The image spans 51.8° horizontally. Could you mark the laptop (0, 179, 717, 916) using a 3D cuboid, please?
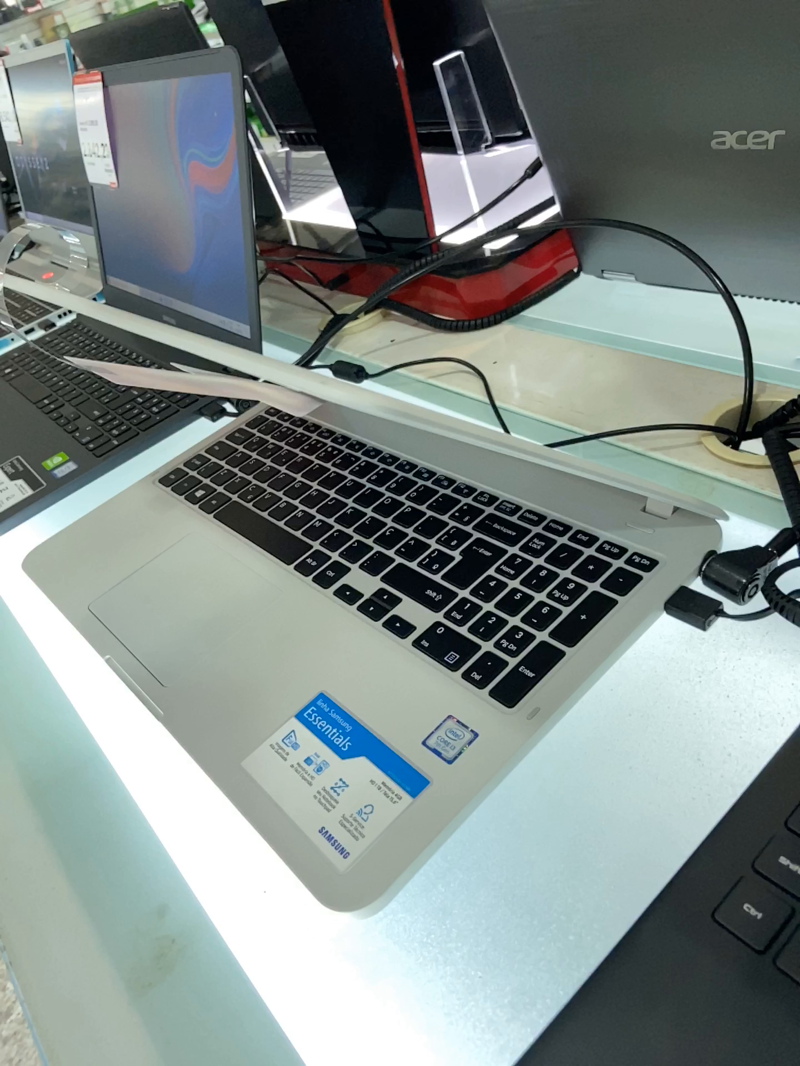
[{"bbox_3d":[-0.077,-0.050,0.419,0.232,0.162,0.368,-39,39,-23],"label":"laptop"}]
